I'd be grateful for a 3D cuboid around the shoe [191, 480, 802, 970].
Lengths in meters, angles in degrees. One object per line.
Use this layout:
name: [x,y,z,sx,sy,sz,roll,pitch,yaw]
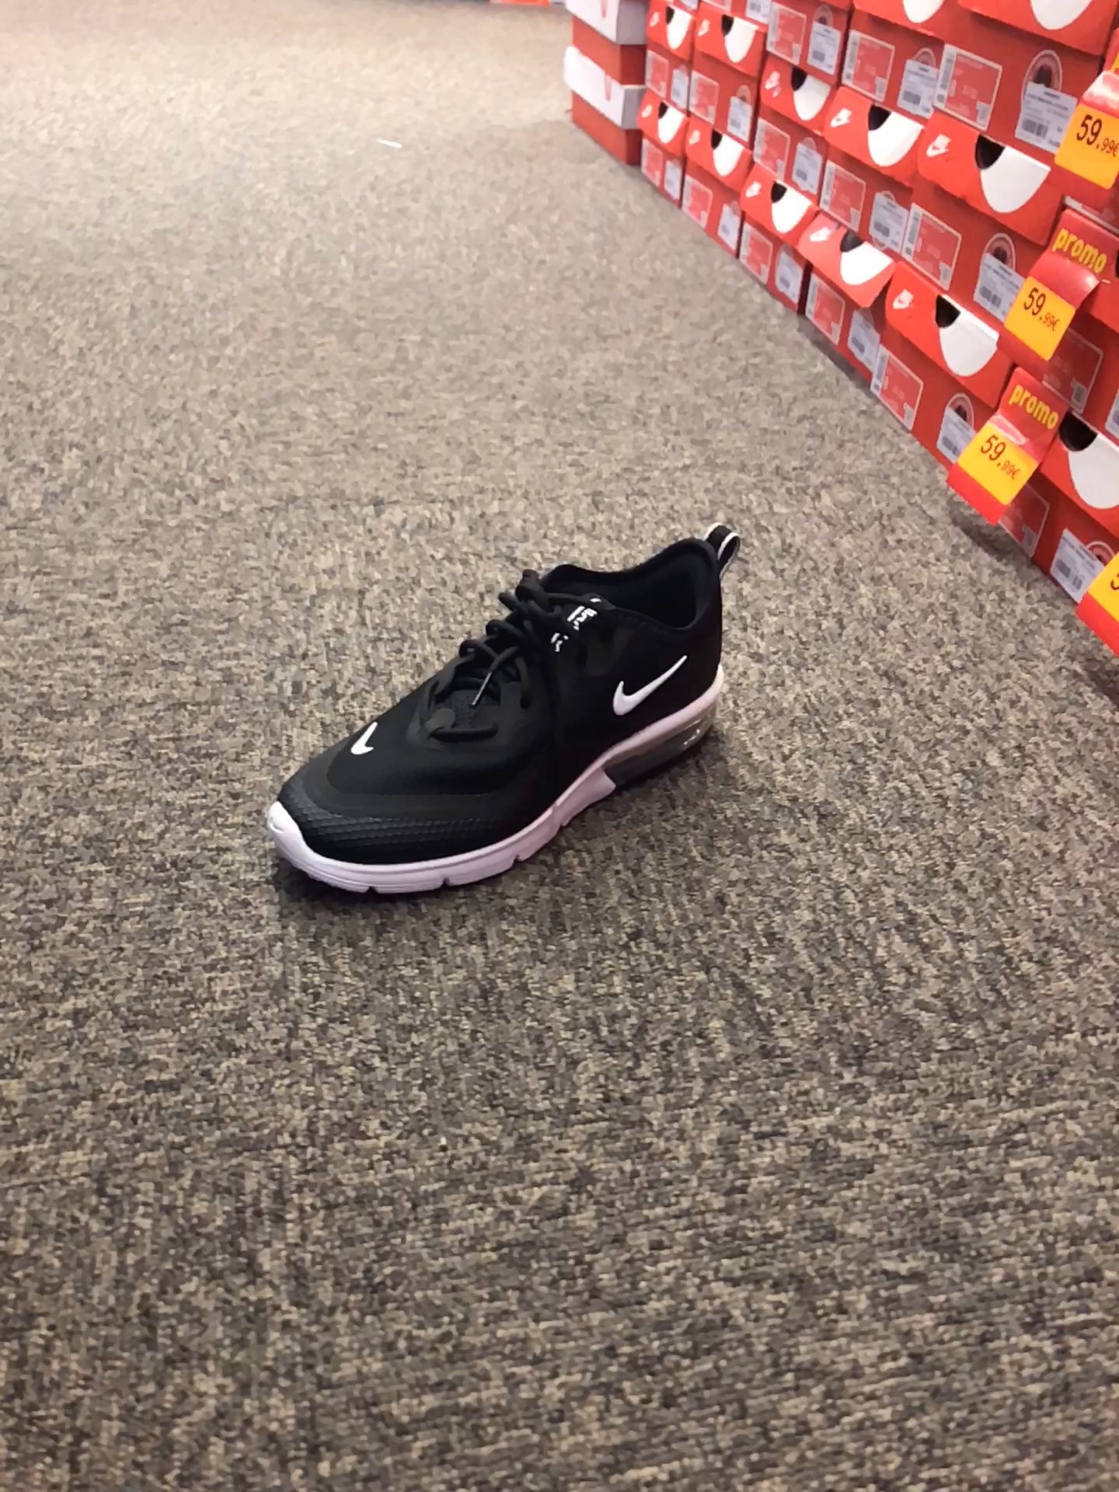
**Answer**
shoe: [-0.021,-0.021,0.572,0.257,0.109,0.100,-24,46,-29]
